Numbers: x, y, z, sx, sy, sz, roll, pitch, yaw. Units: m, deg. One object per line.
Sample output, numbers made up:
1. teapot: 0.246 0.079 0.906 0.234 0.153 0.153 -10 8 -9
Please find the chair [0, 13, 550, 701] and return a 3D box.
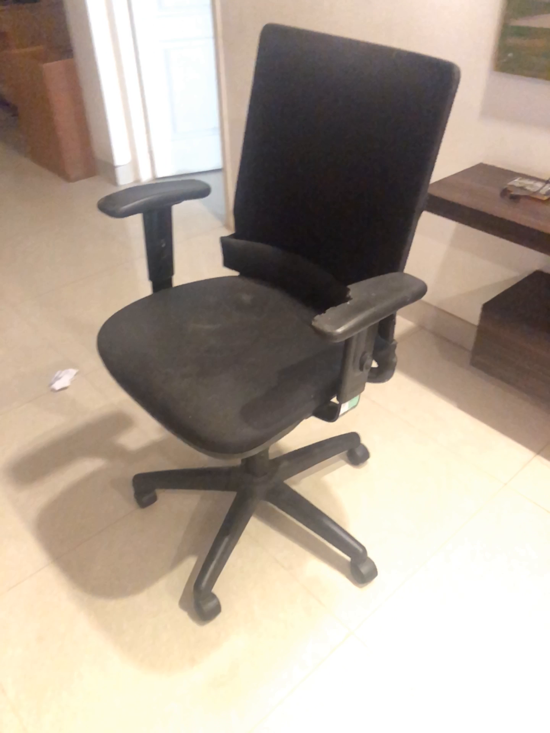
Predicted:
1. chair: -0.037 -0.067 1.260 0.703 1.042 0.713 -32 46 -33
